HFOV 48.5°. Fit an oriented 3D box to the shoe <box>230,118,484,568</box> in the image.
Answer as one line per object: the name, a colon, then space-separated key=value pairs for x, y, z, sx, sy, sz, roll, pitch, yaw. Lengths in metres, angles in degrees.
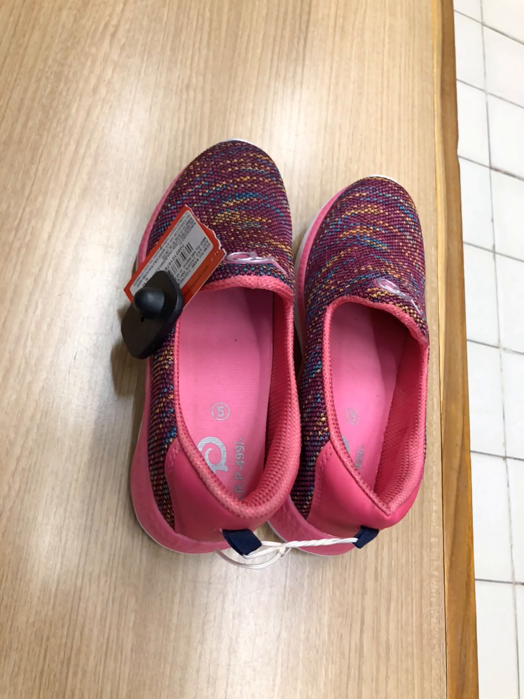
shoe: x=0.067 y=-0.003 z=0.387 sx=0.100 sy=0.100 sz=0.261 roll=18 pitch=67 yaw=-15

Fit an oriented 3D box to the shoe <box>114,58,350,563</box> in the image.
shoe: x=-0.015 y=-0.016 z=0.328 sx=0.090 sy=0.100 sz=0.251 roll=9 pitch=69 yaw=-19
